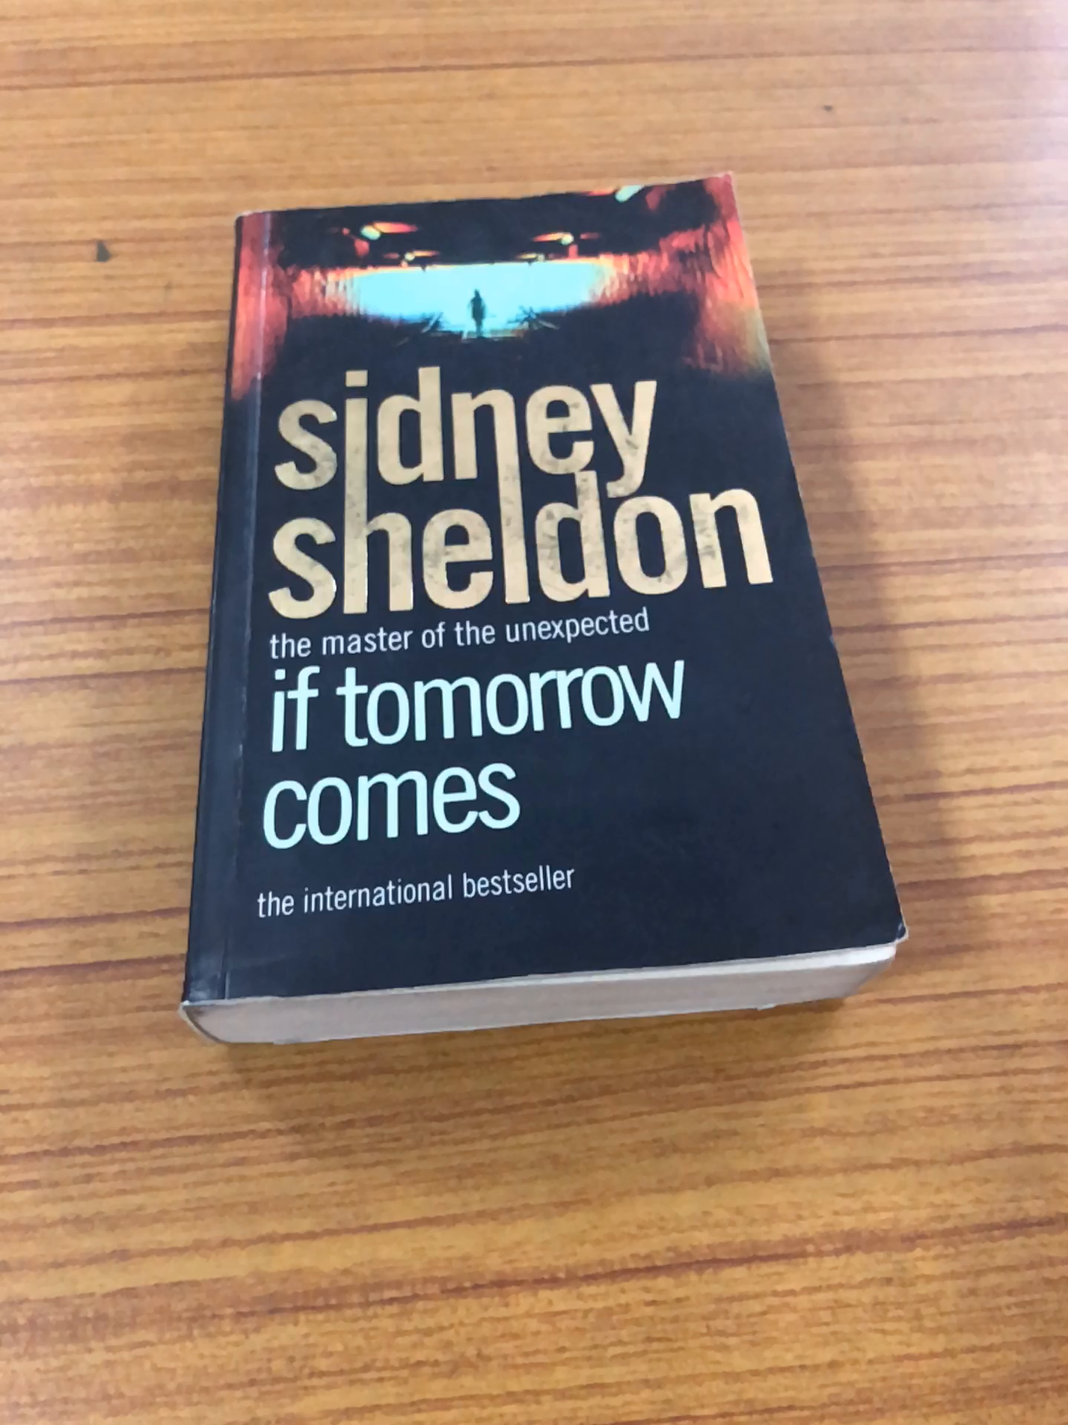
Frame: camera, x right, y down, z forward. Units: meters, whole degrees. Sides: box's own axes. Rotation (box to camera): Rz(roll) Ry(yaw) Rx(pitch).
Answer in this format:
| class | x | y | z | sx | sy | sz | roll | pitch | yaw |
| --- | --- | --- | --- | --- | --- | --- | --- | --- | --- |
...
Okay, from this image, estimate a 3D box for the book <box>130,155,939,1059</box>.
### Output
| class | x | y | z | sx | sy | sz | roll | pitch | yaw |
| --- | --- | --- | --- | --- | --- | --- | --- | --- | --- |
| book | -0.006 | -0.031 | 0.227 | 0.114 | 0.034 | 0.176 | -3 | 61 | -3 |
